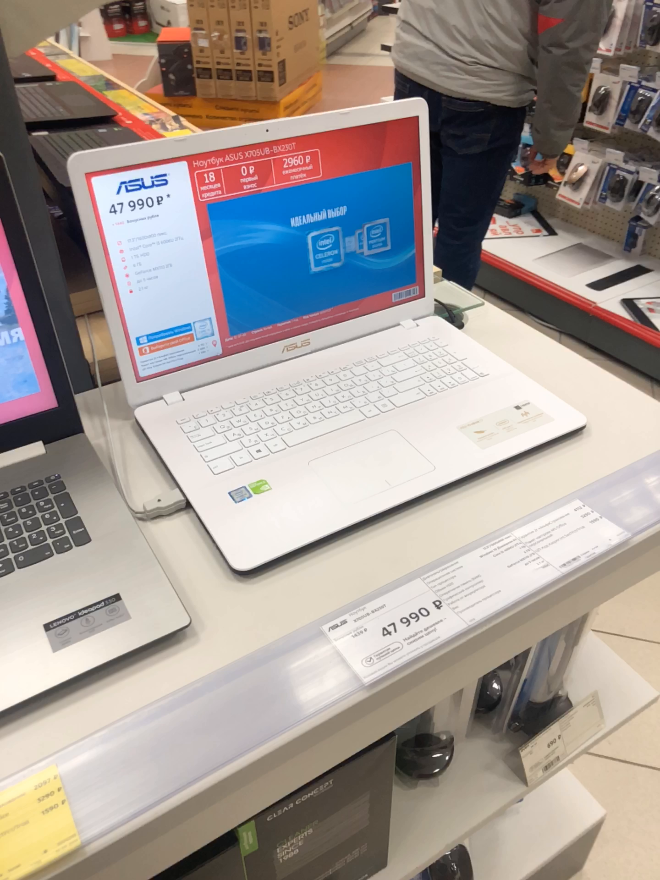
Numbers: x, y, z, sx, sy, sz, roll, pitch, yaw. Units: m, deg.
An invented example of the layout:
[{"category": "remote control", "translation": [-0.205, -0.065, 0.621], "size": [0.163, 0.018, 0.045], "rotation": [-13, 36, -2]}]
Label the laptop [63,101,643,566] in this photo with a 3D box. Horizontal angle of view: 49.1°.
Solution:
[{"category": "laptop", "translation": [0.014, -0.135, 0.690], "size": [0.386, 0.235, 0.301], "rotation": [-21, 43, -24]}]
